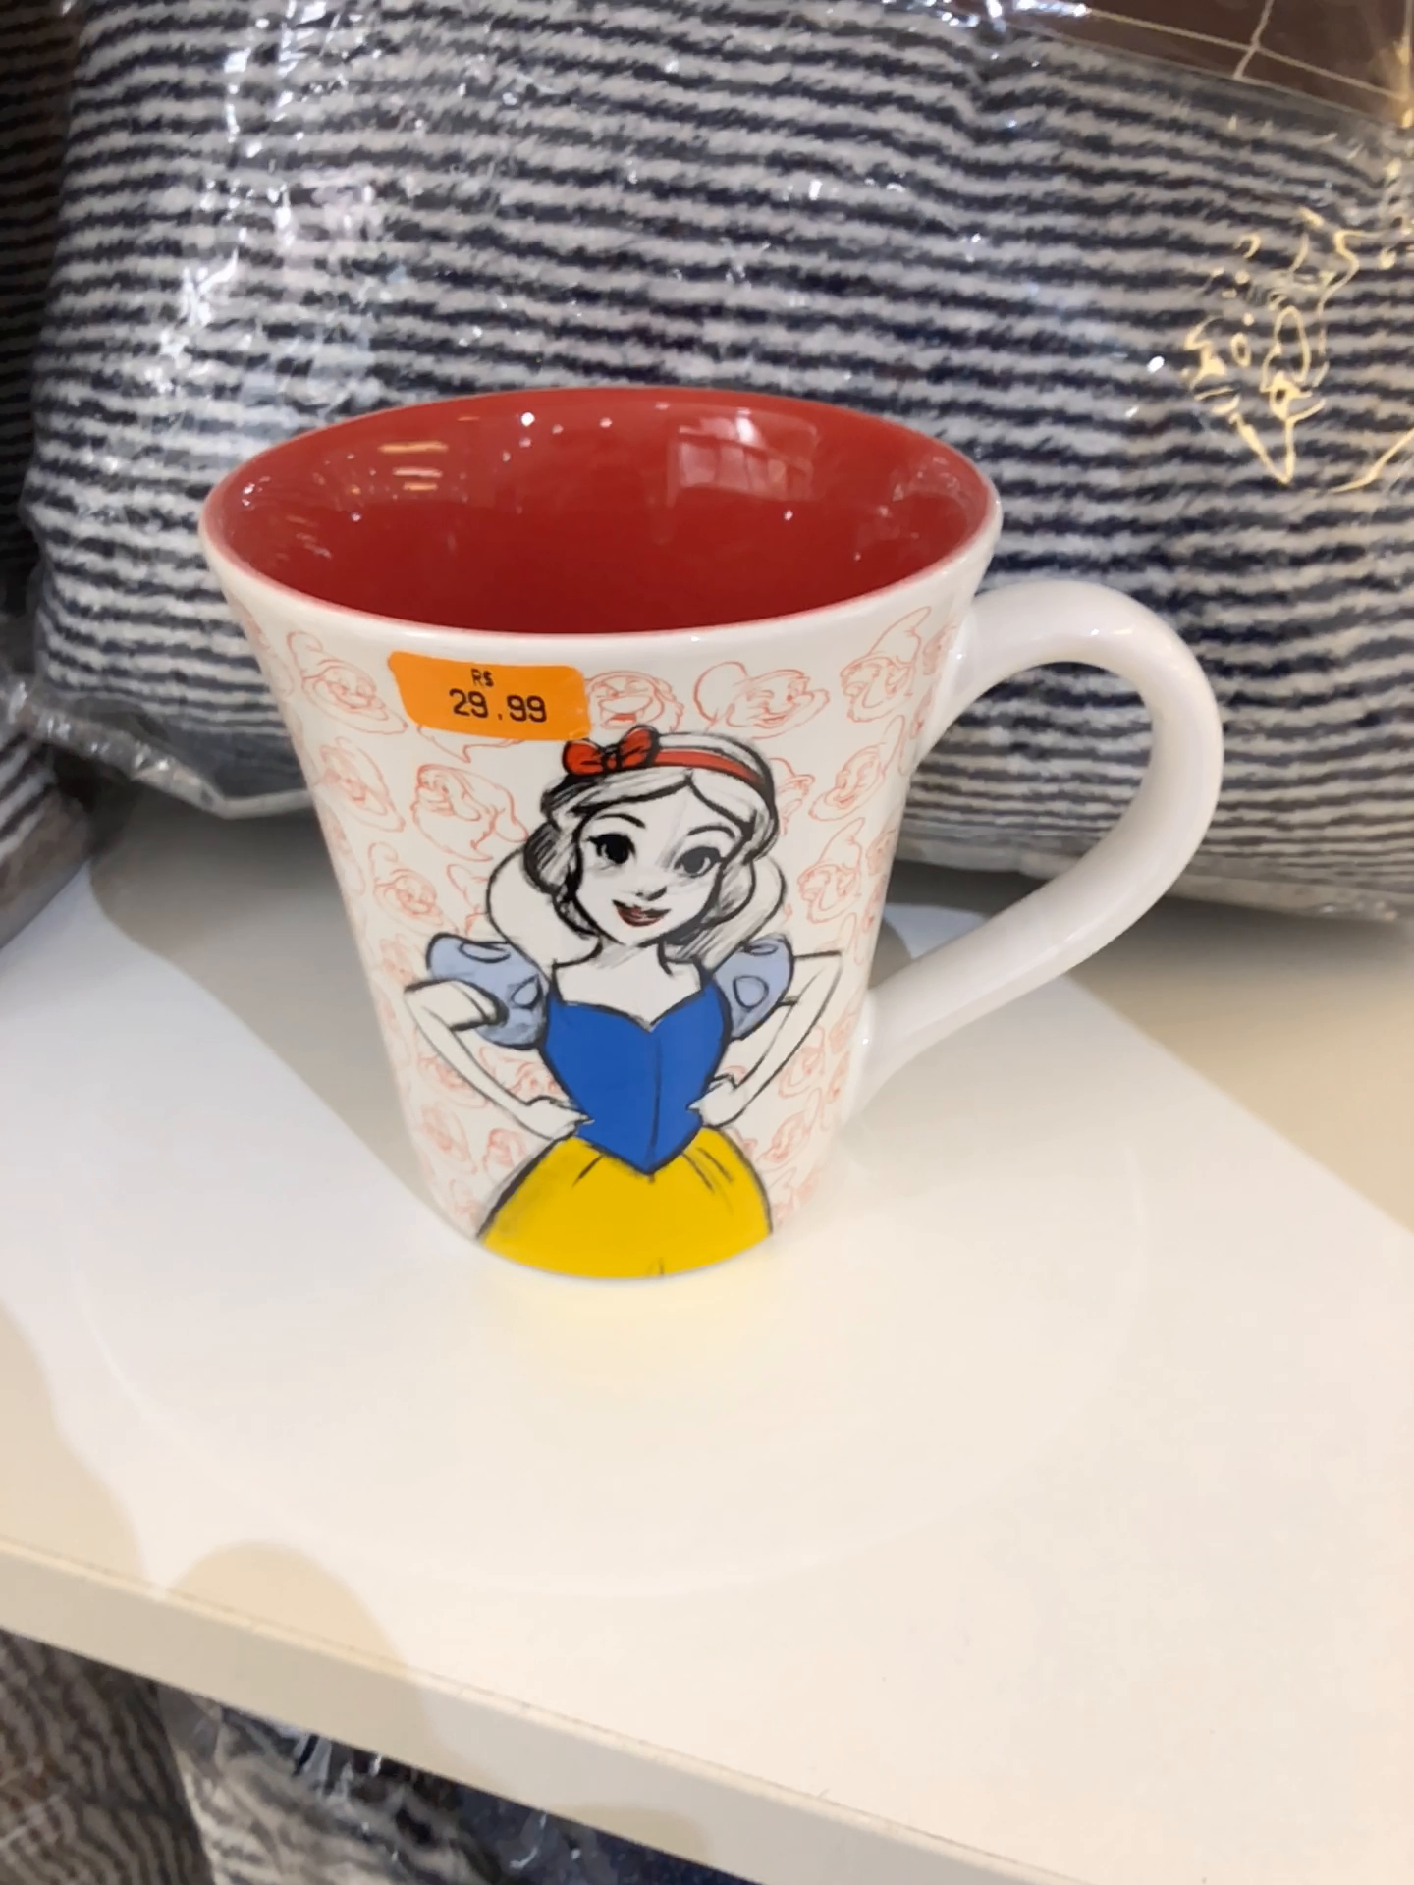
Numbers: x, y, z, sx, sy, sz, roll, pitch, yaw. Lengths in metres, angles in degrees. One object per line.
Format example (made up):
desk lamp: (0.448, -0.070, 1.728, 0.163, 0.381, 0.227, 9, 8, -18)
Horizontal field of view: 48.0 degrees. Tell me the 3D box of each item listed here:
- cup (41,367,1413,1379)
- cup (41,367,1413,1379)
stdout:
cup: (0.004, -0.013, 0.197, 0.120, 0.089, 0.091, 1, 34, 2)
cup: (0.004, -0.013, 0.197, 0.120, 0.089, 0.091, 1, 34, 2)
